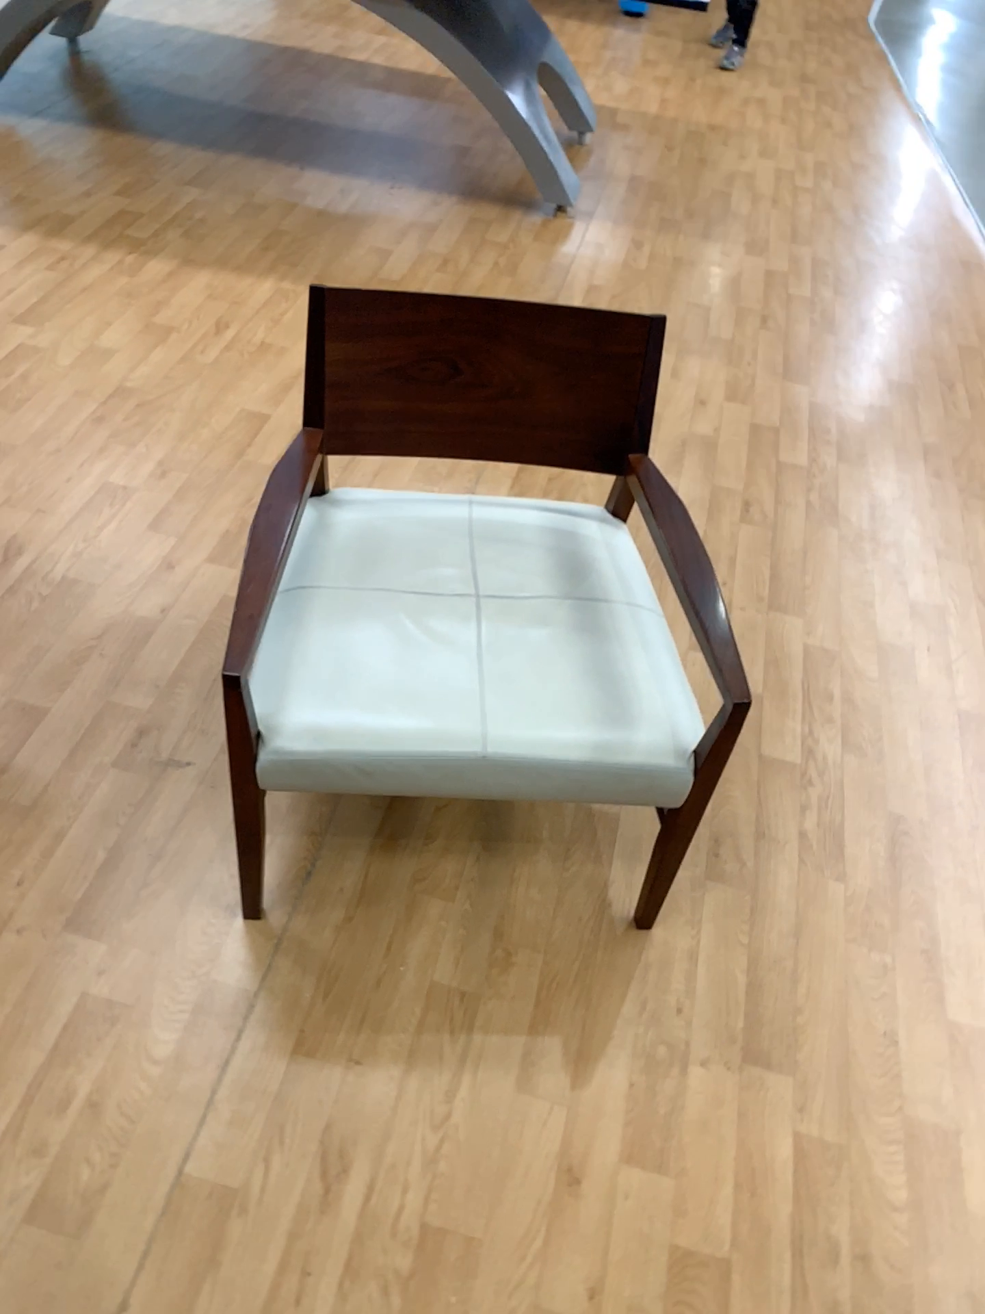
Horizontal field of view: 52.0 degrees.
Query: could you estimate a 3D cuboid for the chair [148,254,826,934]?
[{"bbox_3d":[-0.041,-0.090,1.467,0.670,0.635,0.716,3,45,-6],"label":"chair"}]
